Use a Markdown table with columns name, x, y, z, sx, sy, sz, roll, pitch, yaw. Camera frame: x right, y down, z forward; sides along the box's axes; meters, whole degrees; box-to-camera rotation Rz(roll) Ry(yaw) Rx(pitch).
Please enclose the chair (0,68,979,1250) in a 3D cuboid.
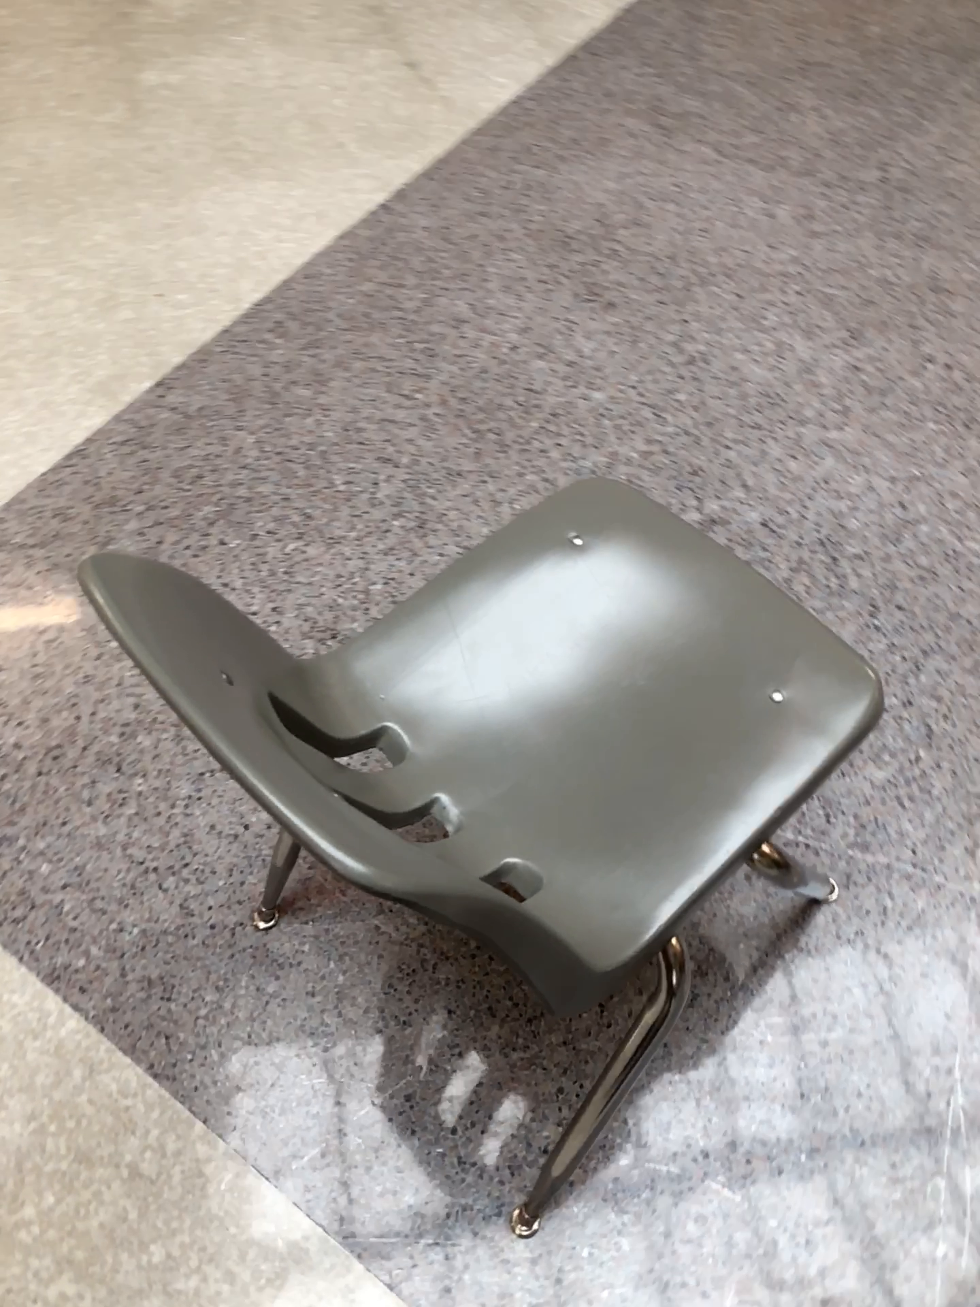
| name | x | y | z | sx | sy | sz | roll | pitch | yaw |
| --- | --- | --- | --- | --- | --- | --- | --- | --- | --- |
| chair | 0.042 | 0.046 | 0.896 | 0.551 | 0.667 | 0.512 | -38 | 63 | -21 |
